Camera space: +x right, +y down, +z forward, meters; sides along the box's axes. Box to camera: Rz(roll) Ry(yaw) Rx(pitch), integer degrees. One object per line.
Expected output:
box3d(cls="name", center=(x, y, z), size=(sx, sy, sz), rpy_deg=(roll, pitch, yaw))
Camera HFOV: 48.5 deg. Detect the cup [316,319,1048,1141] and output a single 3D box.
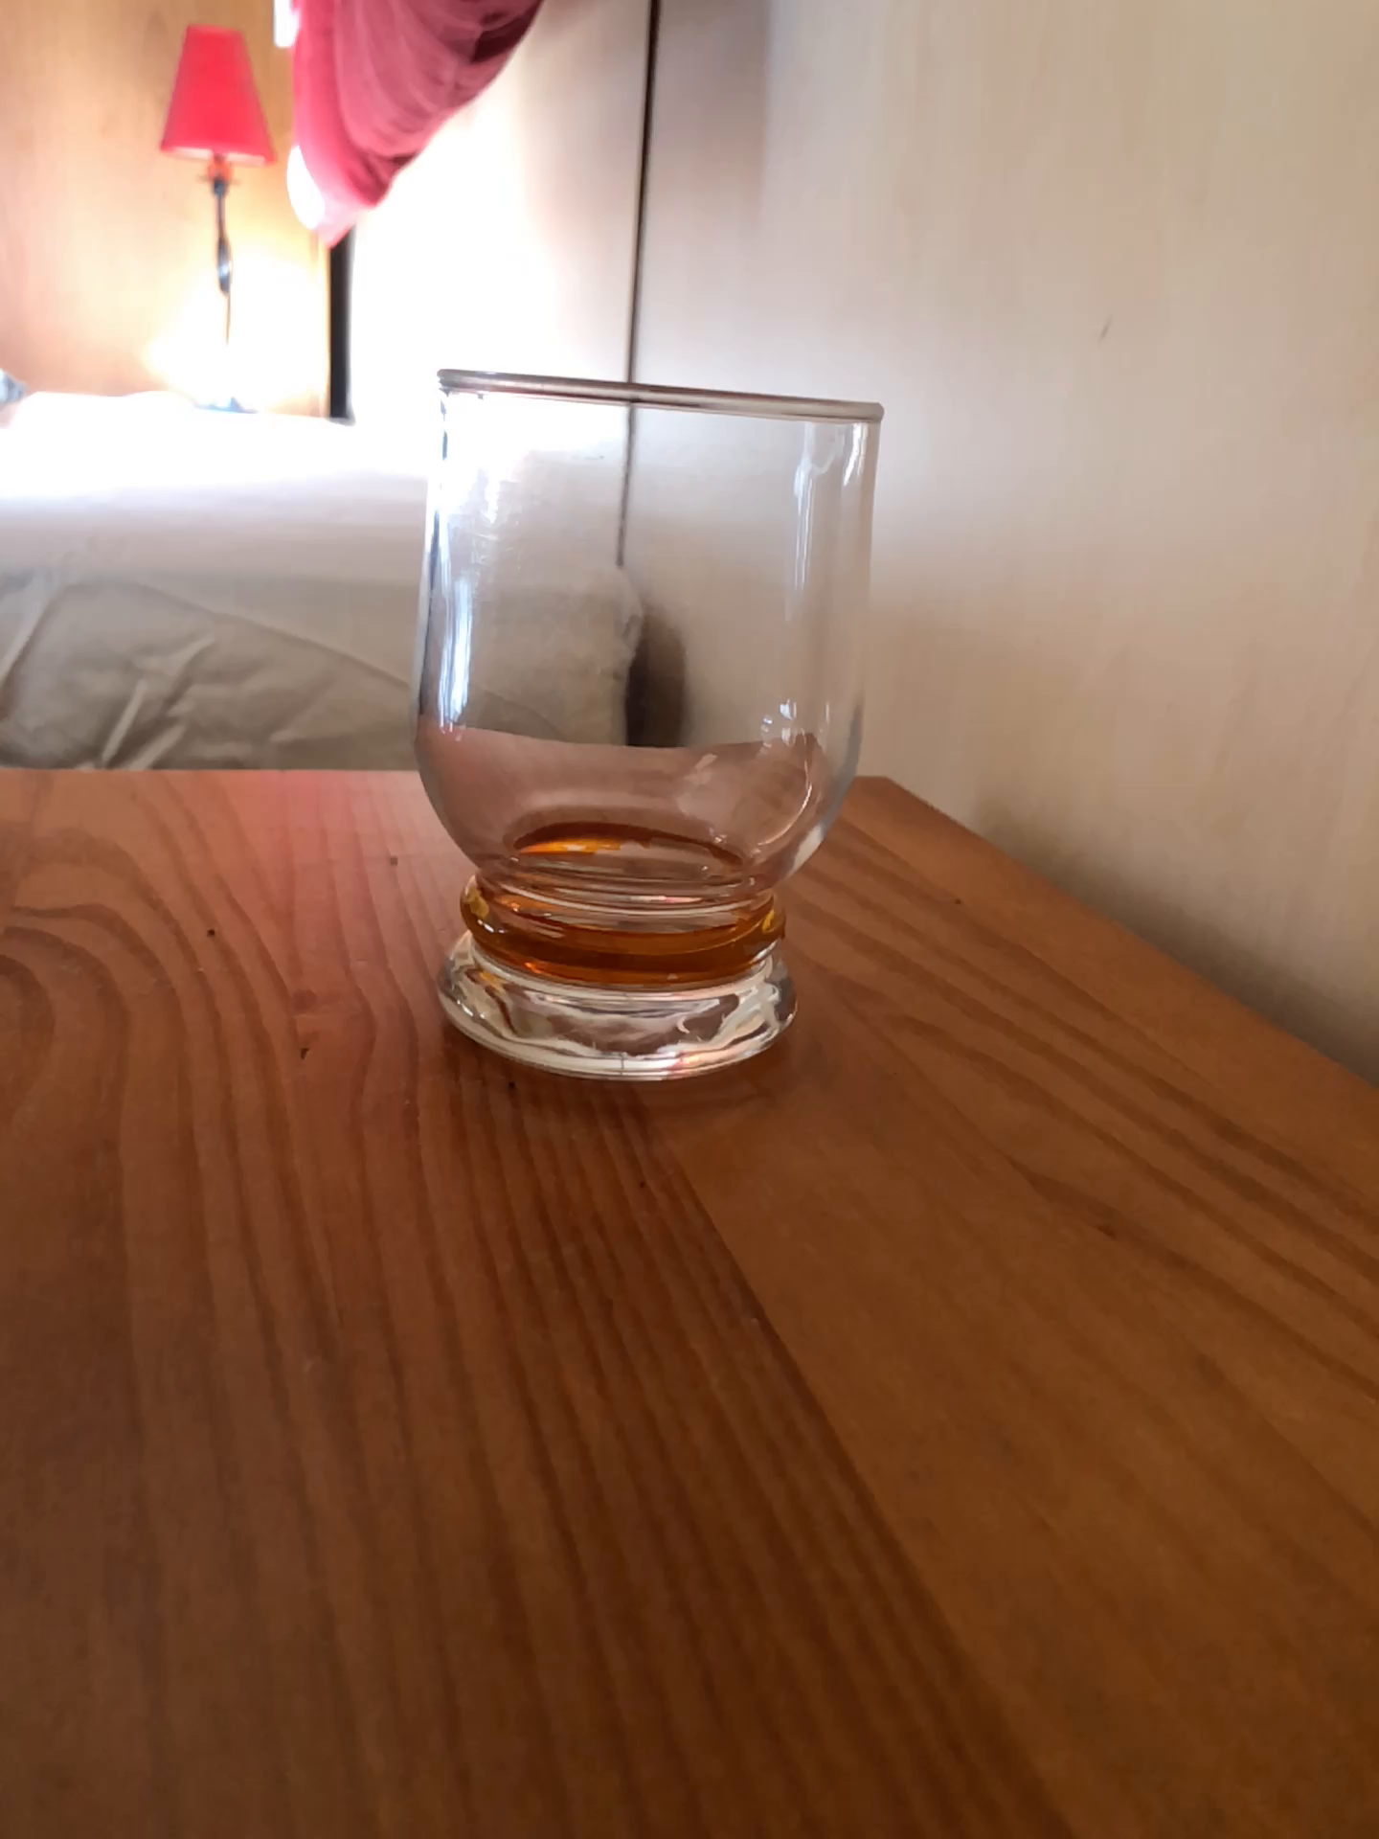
box3d(cls="cup", center=(-0.006, -0.035, 0.236), size=(0.076, 0.100, 0.073), rpy_deg=(5, 19, -2))
